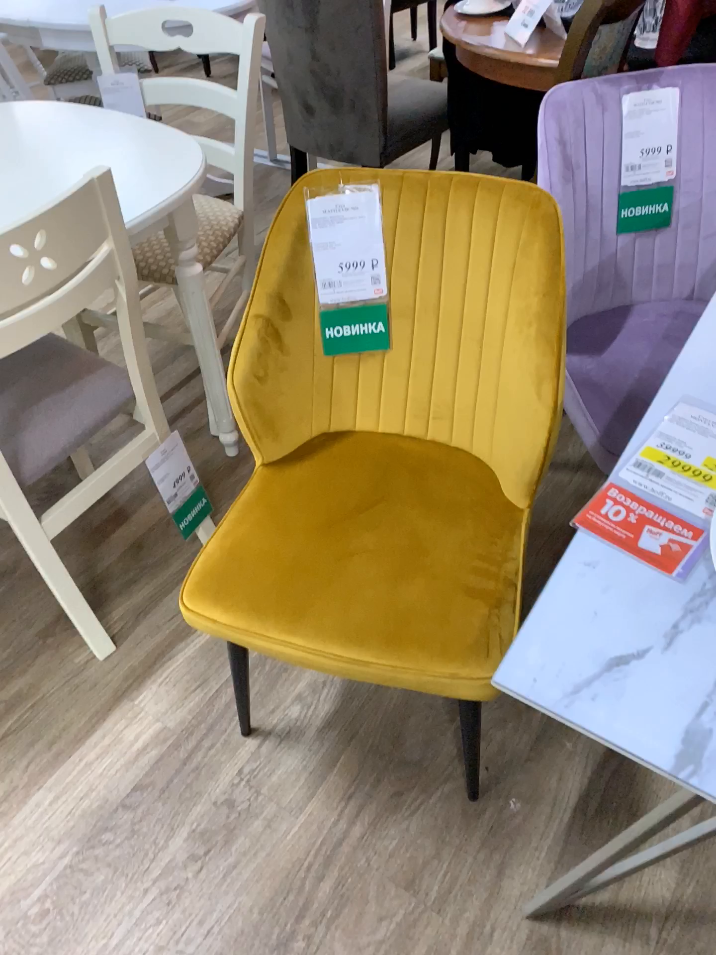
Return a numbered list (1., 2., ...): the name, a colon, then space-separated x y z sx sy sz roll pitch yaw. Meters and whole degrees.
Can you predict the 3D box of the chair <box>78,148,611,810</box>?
1. chair: 0.041 0.041 1.171 0.500 0.885 0.503 10 46 13
